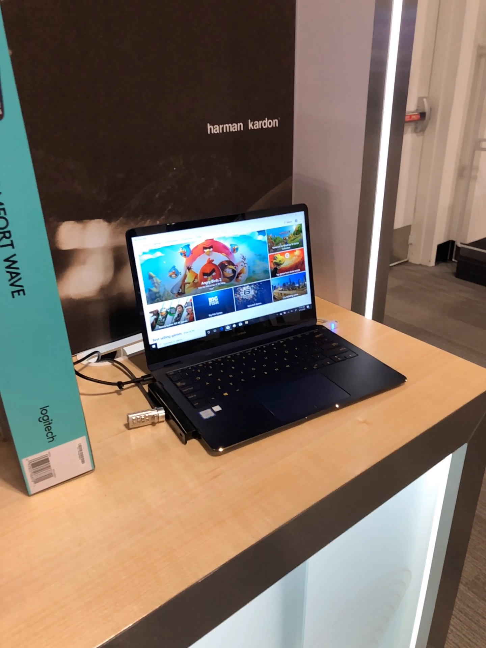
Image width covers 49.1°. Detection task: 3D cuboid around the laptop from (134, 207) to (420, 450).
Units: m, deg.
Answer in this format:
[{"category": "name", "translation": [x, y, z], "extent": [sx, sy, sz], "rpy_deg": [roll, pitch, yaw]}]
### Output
[{"category": "laptop", "translation": [0.037, -0.022, 0.734], "extent": [0.291, 0.190, 0.249], "rpy_deg": [-15, 29, -26]}]
